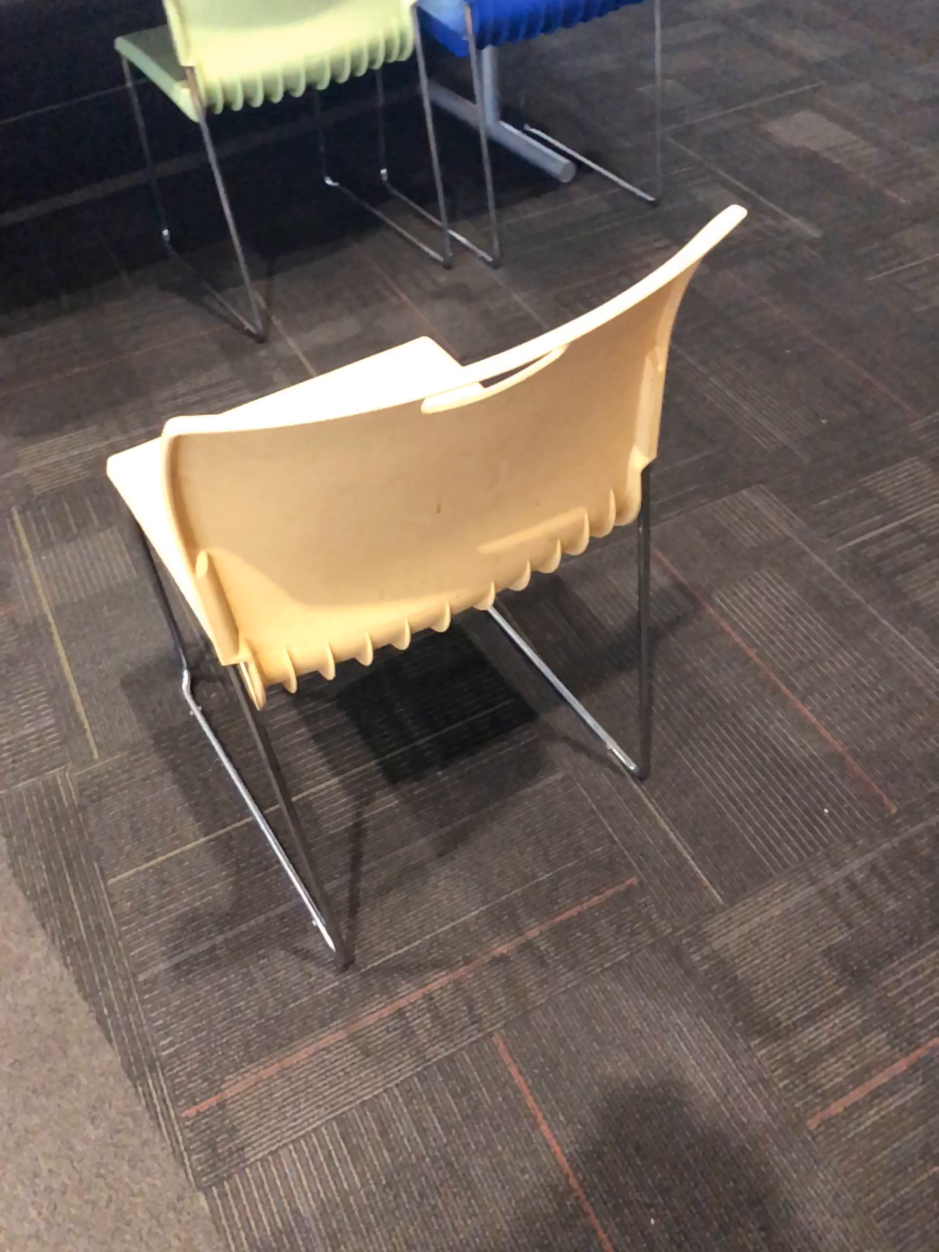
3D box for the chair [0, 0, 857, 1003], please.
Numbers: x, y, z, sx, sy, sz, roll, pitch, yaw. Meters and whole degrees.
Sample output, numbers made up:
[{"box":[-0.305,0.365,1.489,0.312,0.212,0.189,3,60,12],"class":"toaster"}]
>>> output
[{"box":[-0.092,-0.131,1.104,0.570,0.737,0.562,-26,52,-19],"class":"chair"}]
